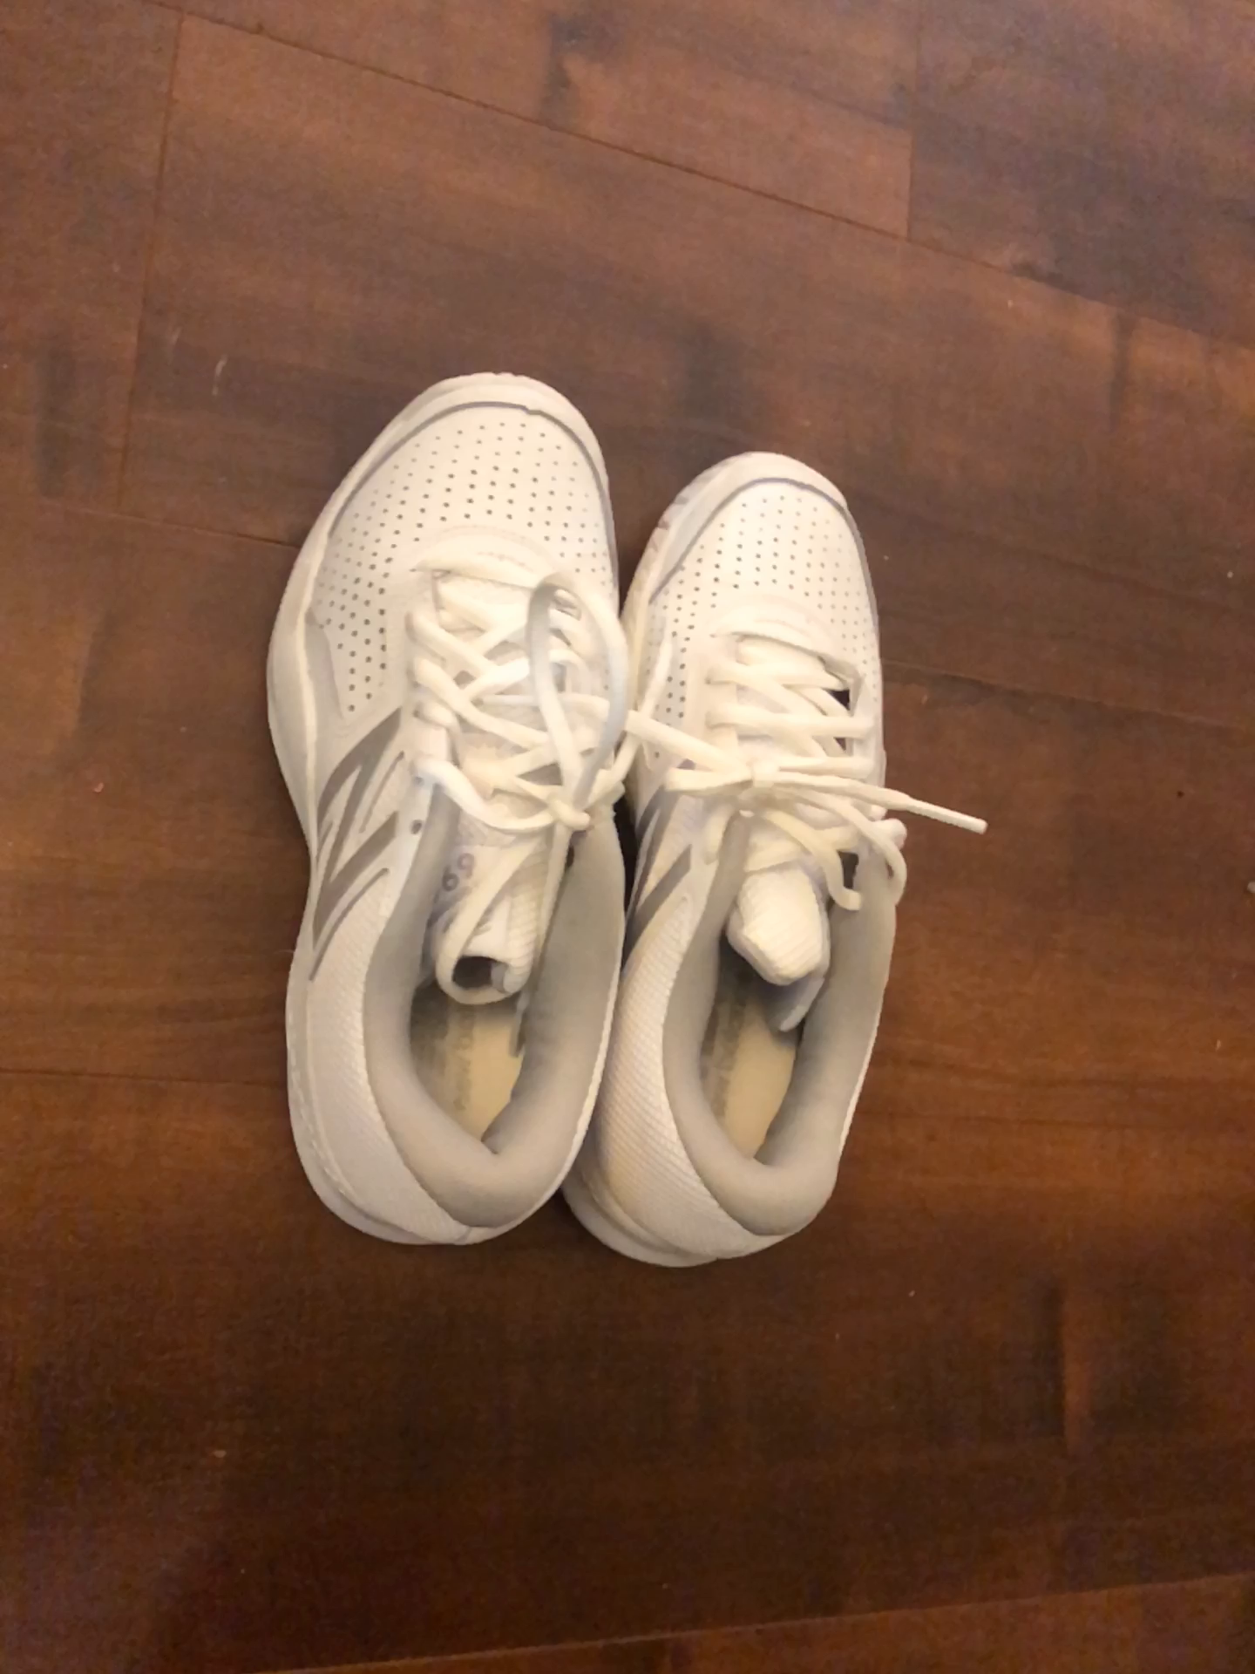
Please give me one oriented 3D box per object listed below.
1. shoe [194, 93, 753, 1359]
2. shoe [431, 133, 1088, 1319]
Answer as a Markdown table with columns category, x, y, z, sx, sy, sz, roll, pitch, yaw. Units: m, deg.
| category | x | y | z | sx | sy | sz | roll | pitch | yaw |
| --- | --- | --- | --- | --- | --- | --- | --- | --- | --- |
| shoe | -0.050 | -0.024 | 0.408 | 0.100 | 0.130 | 0.310 | 9 | 81 | -21 |
| shoe | 0.035 | -0.024 | 0.458 | 0.120 | 0.170 | 0.310 | 11 | 80 | -18 |
